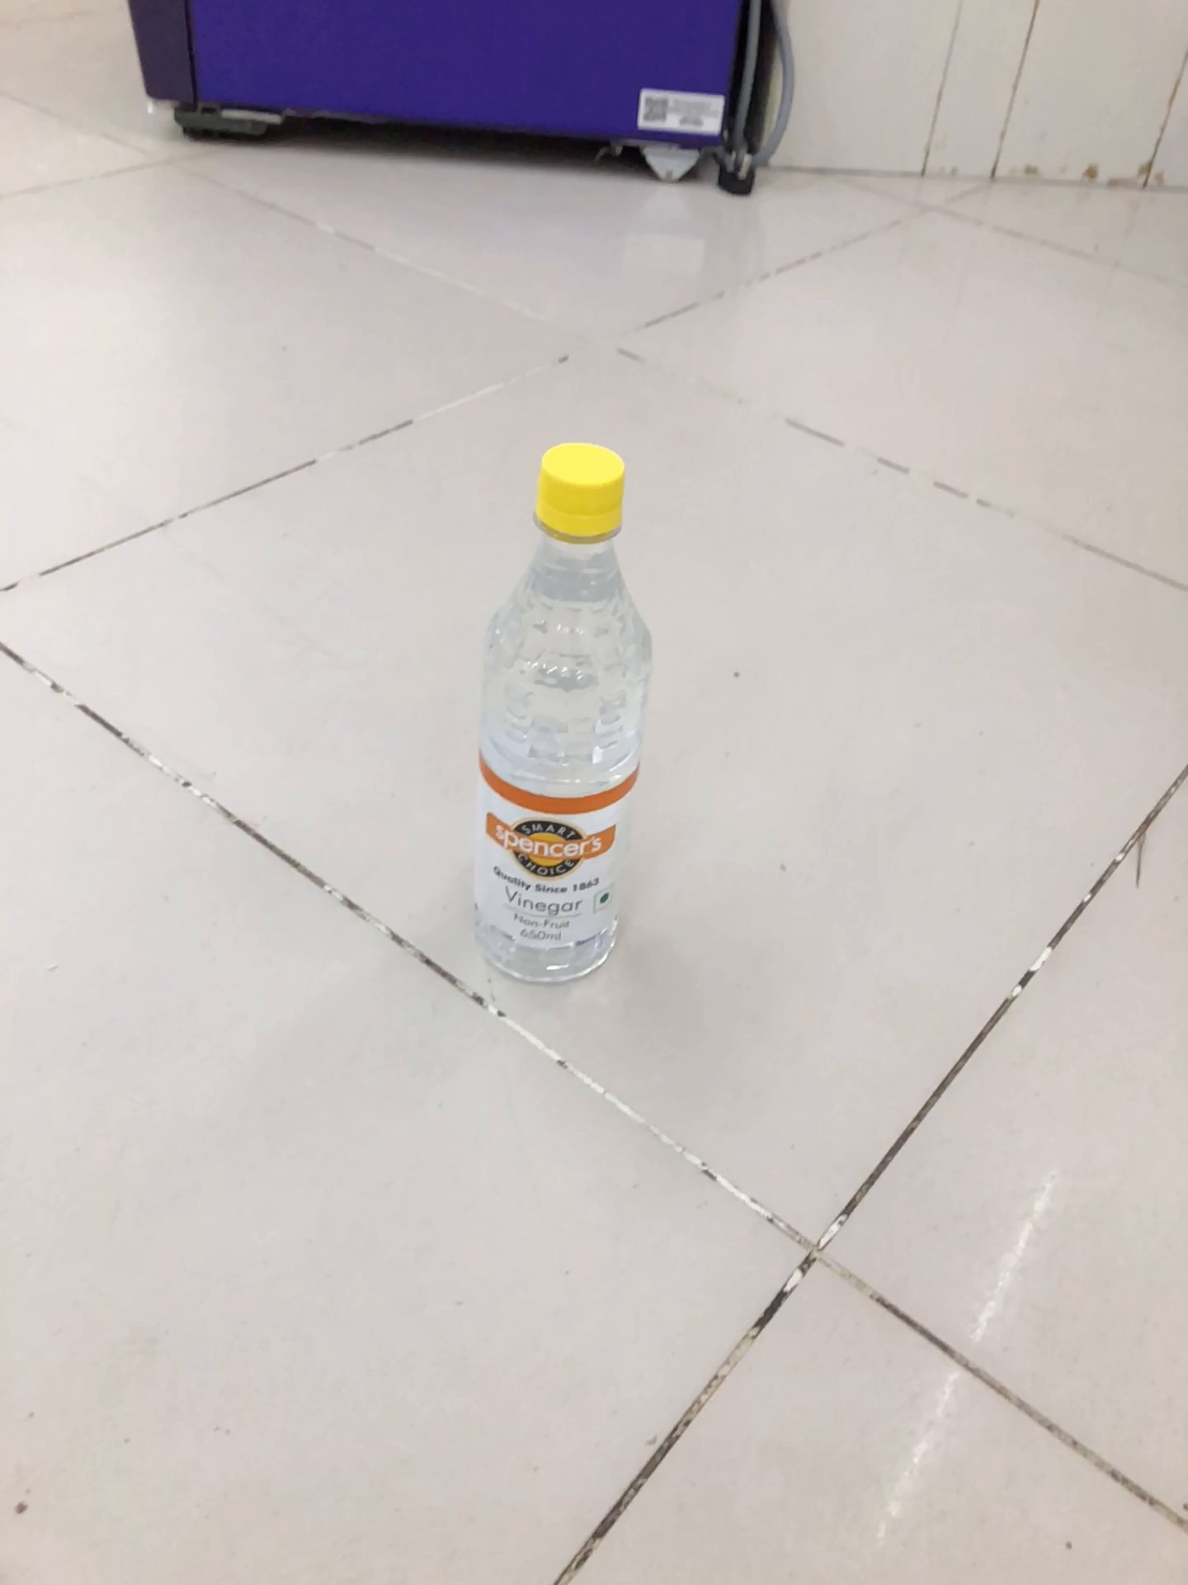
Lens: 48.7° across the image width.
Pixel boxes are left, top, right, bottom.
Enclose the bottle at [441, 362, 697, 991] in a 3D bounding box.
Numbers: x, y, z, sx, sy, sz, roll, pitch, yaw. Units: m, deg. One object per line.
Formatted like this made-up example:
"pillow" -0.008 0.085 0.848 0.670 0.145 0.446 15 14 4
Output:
"bottle" -0.015 -0.034 0.518 0.080 0.238 0.081 3 41 -3
